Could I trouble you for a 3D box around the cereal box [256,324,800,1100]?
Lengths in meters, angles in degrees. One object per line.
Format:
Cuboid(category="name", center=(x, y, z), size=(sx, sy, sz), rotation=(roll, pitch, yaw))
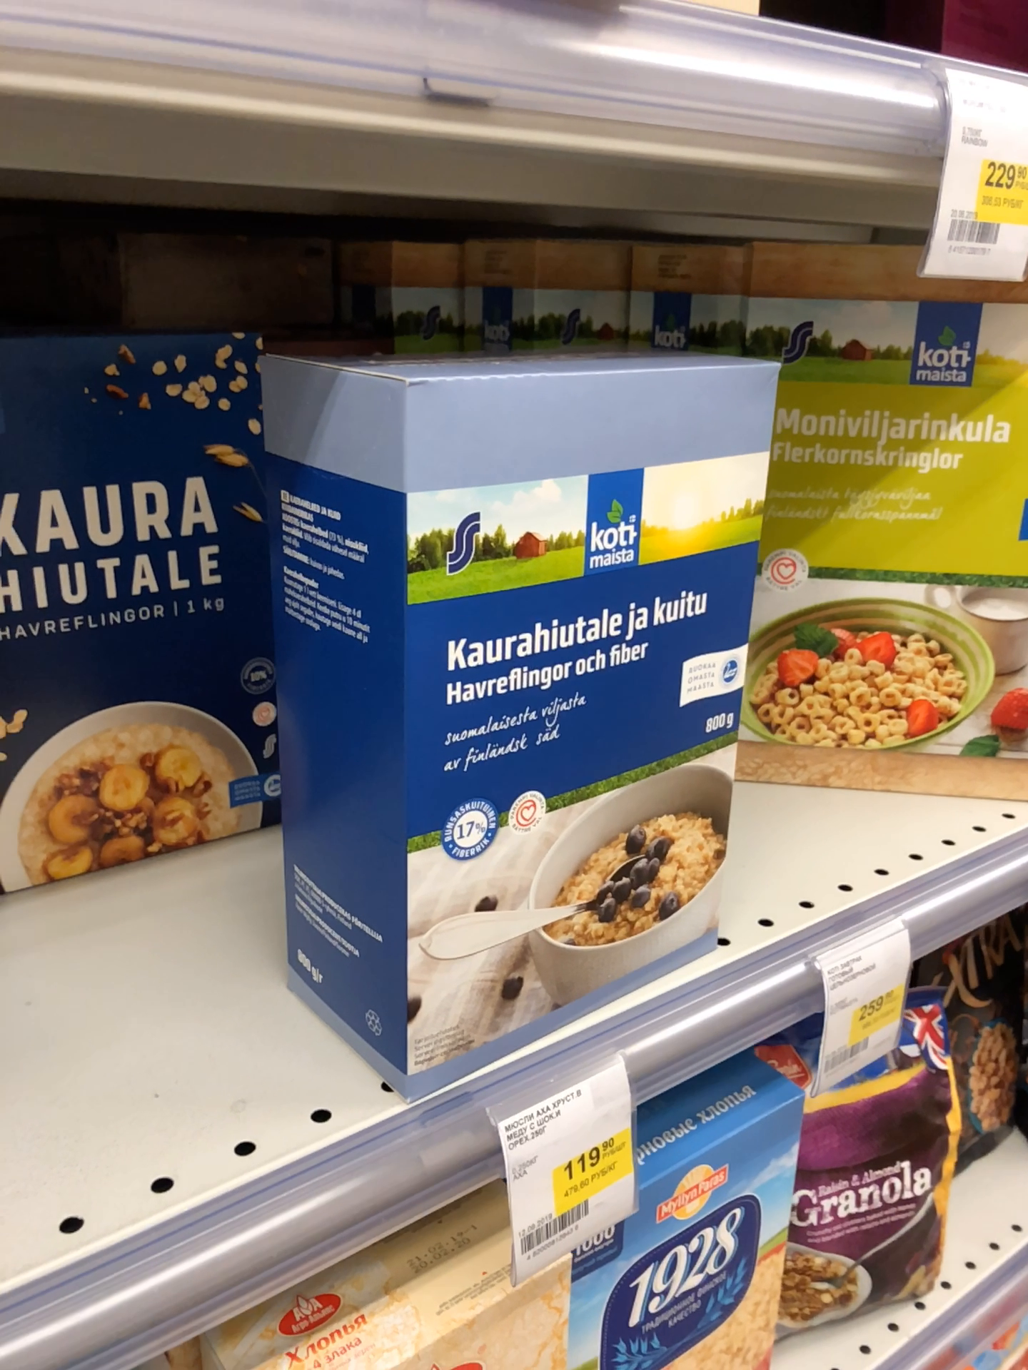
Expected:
Cuboid(category="cereal box", center=(0.005, -0.004, 0.381), size=(0.150, 0.219, 0.080), rotation=(-14, 25, -38))
